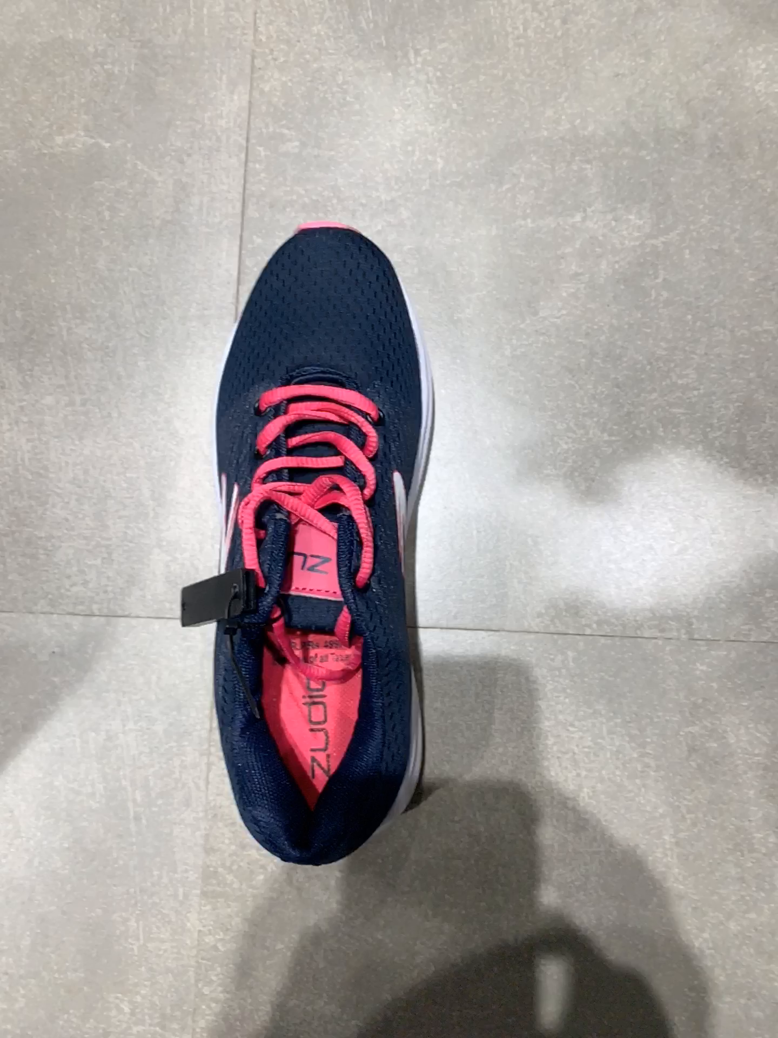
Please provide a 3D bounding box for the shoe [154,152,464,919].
[{"bbox_3d":[-0.028,0.004,0.308,0.094,0.090,0.248,-2,84,1],"label":"shoe"}]
